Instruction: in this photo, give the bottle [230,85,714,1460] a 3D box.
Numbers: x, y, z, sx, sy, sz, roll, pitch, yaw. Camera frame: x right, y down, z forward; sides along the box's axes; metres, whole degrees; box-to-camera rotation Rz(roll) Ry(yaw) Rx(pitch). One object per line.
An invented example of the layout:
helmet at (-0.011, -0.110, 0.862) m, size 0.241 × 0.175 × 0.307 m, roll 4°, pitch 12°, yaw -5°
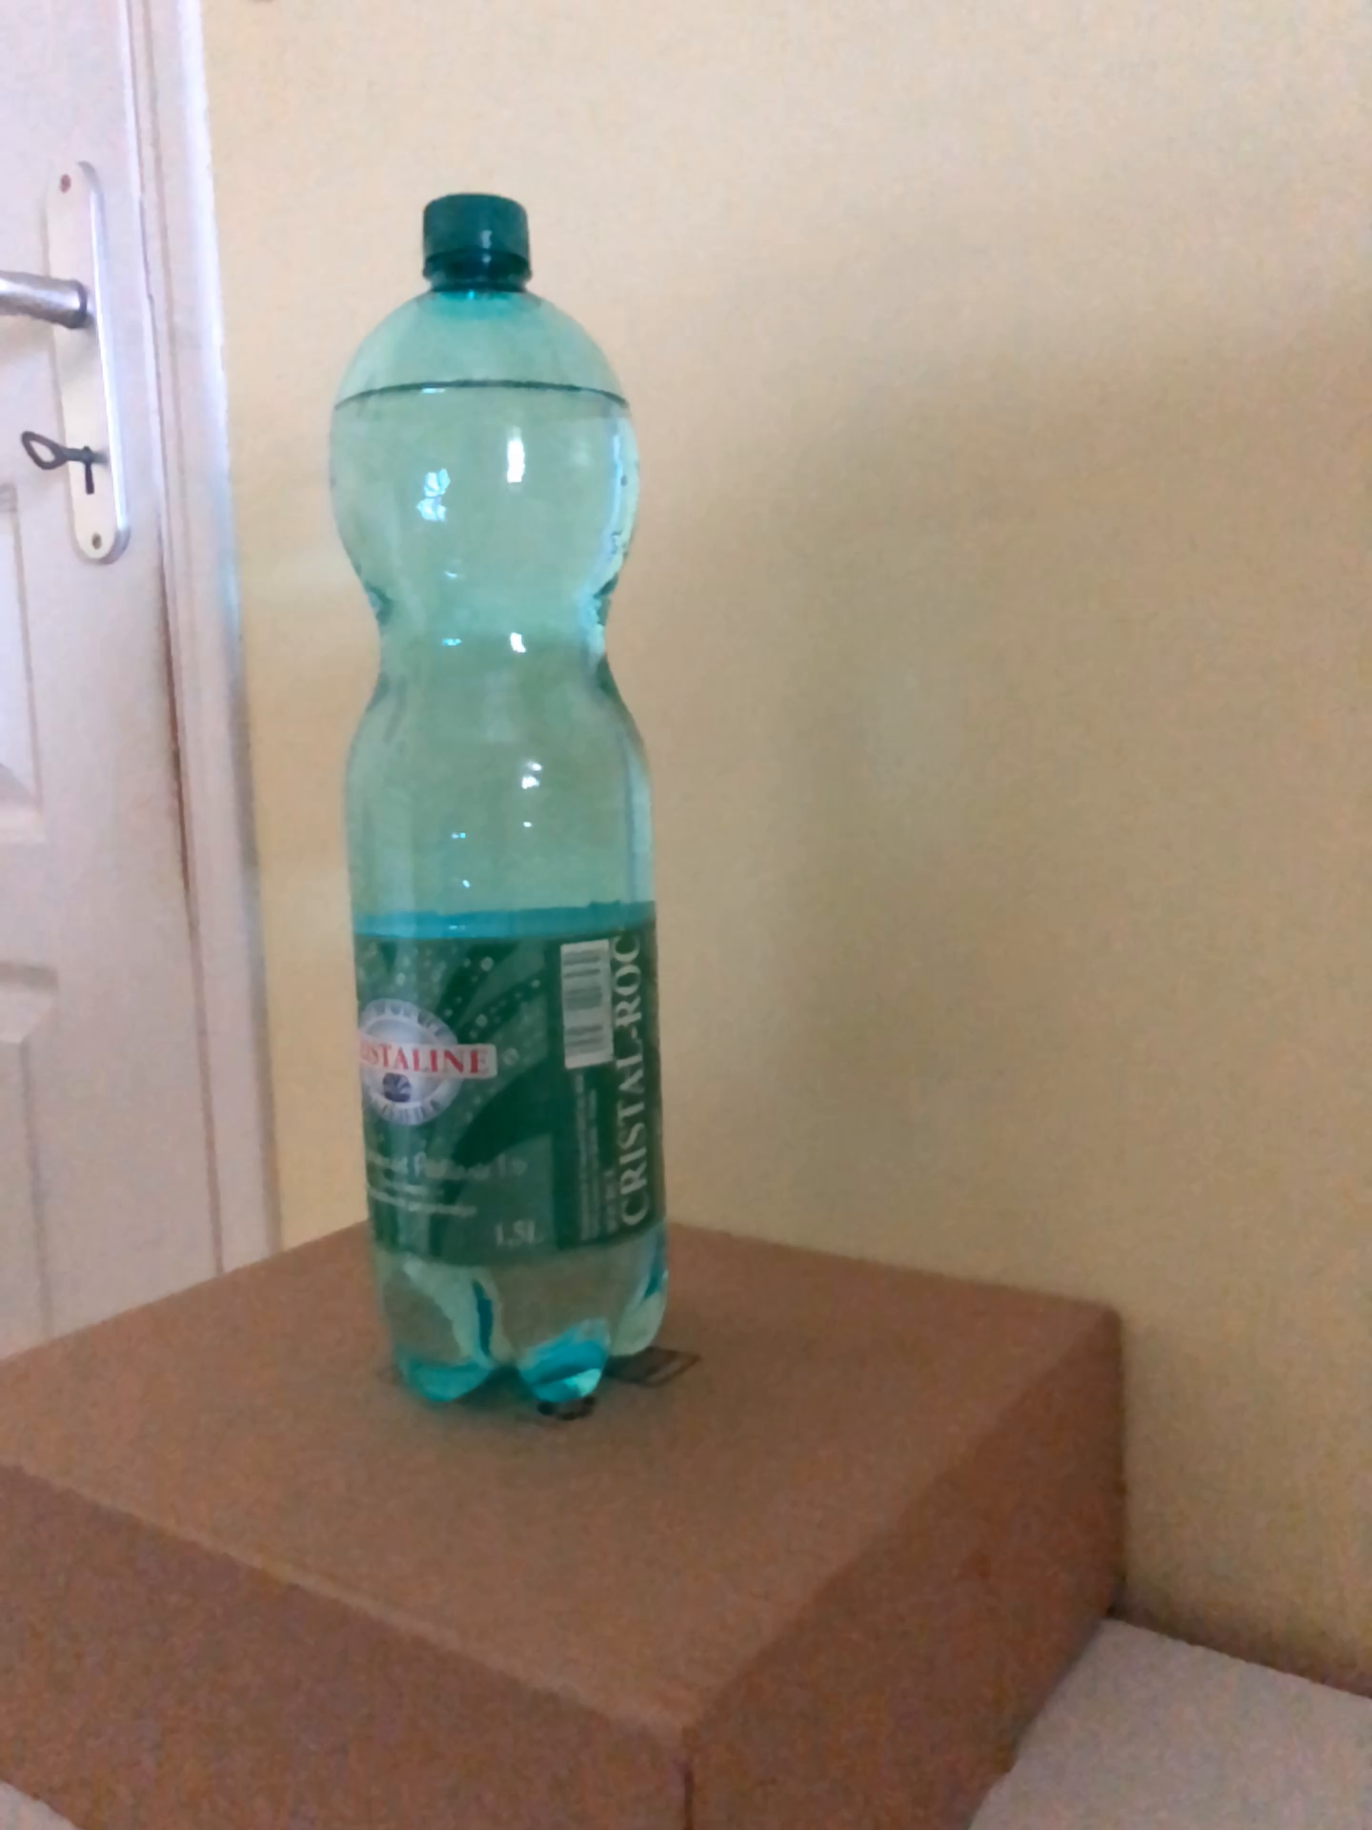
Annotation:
bottle at (-0.059, -0.034, 0.432) m, size 0.090 × 0.339 × 0.080 m, roll 3°, pitch 8°, yaw 42°
